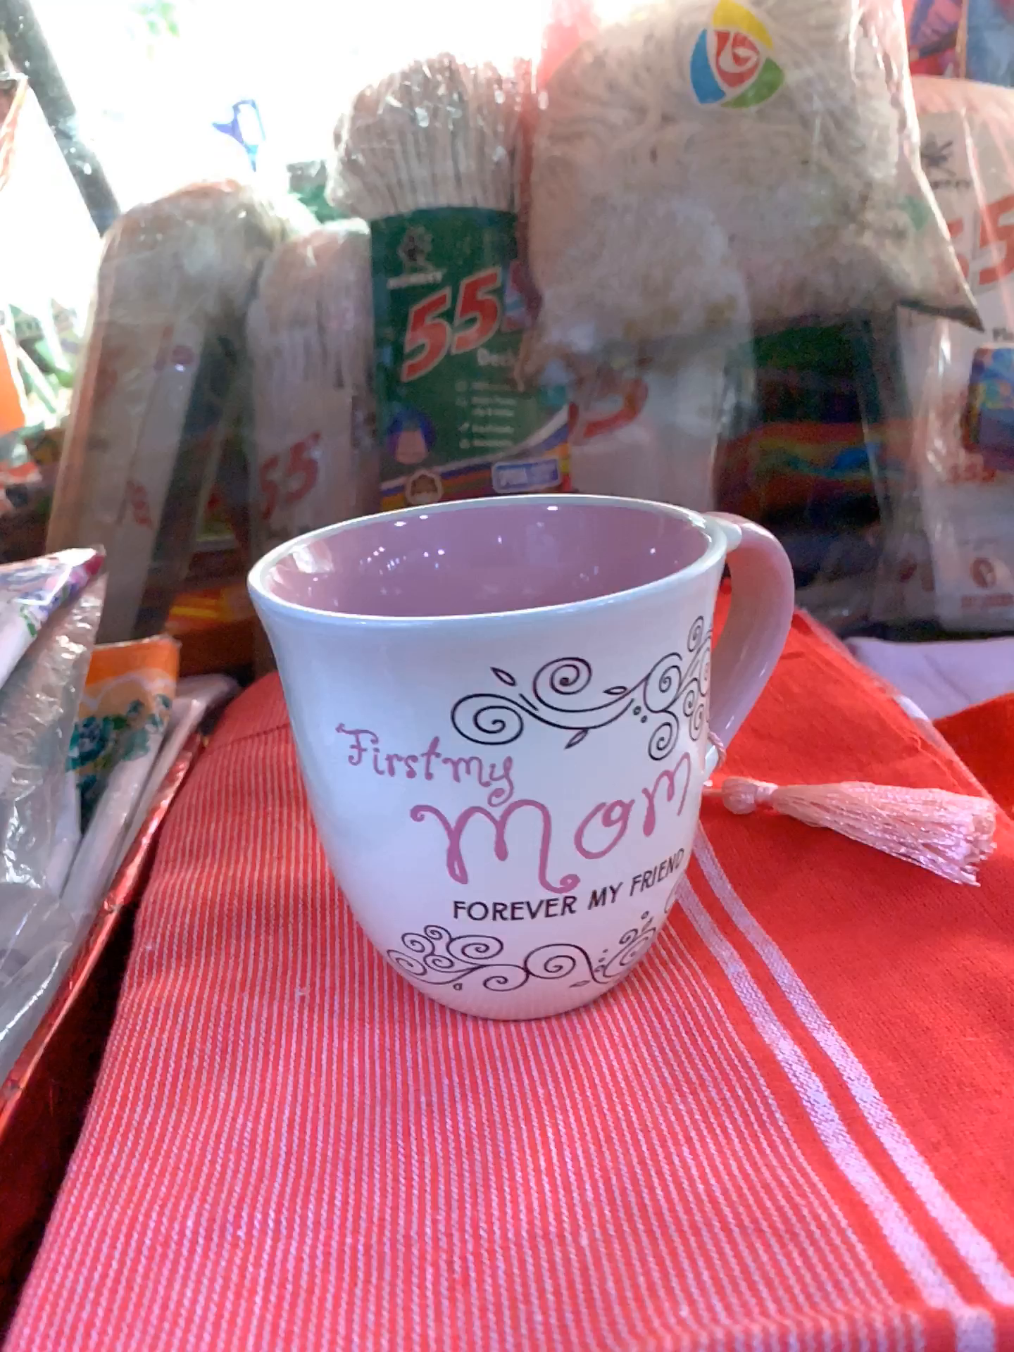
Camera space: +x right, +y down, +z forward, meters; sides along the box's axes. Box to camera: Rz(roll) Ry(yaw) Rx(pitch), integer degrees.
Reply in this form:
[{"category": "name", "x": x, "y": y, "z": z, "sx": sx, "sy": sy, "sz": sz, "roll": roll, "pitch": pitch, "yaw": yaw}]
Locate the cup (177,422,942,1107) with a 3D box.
[{"category": "cup", "x": 0.018, "y": 0.001, "z": 0.217, "sx": 0.086, "sy": 0.075, "sz": 0.125, "roll": 16, "pitch": 32, "yaw": 42}]
